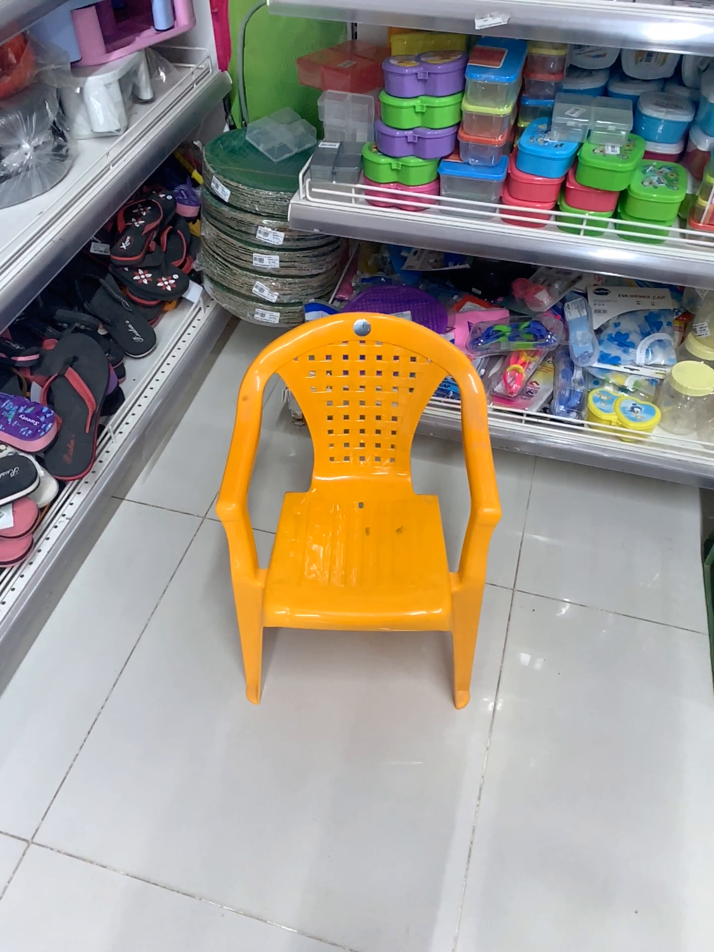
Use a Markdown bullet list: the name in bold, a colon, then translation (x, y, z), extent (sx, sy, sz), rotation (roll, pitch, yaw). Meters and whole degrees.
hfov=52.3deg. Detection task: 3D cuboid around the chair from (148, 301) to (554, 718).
- **chair**: translation (0.004, 0.059, 1.006), extent (0.400, 0.459, 0.361), rotation (1, 49, 2)
